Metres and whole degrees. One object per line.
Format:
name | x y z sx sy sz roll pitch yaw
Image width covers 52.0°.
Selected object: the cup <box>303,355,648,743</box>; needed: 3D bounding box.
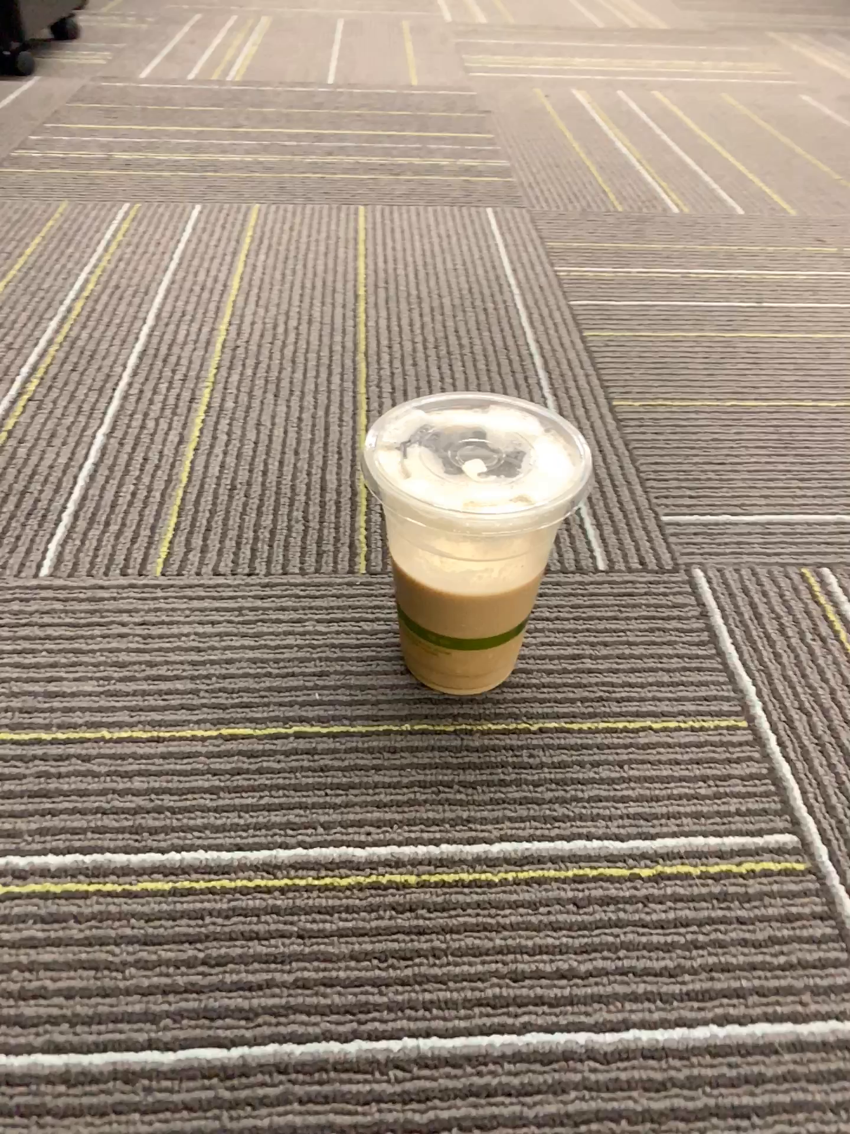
cup | 0.020 -0.012 0.392 0.100 0.109 0.100 1 40 -1
